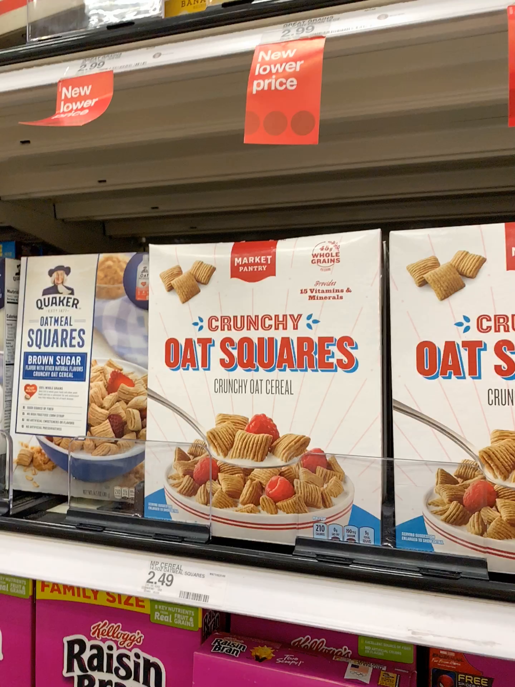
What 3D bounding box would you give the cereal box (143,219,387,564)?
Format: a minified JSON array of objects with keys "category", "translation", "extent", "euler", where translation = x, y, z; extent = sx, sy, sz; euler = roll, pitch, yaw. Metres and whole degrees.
[{"category":"cereal box","translation":[0.008,0.033,0.441],"extent":[0.190,0.250,0.060],"euler":[0,-2,16]}]
